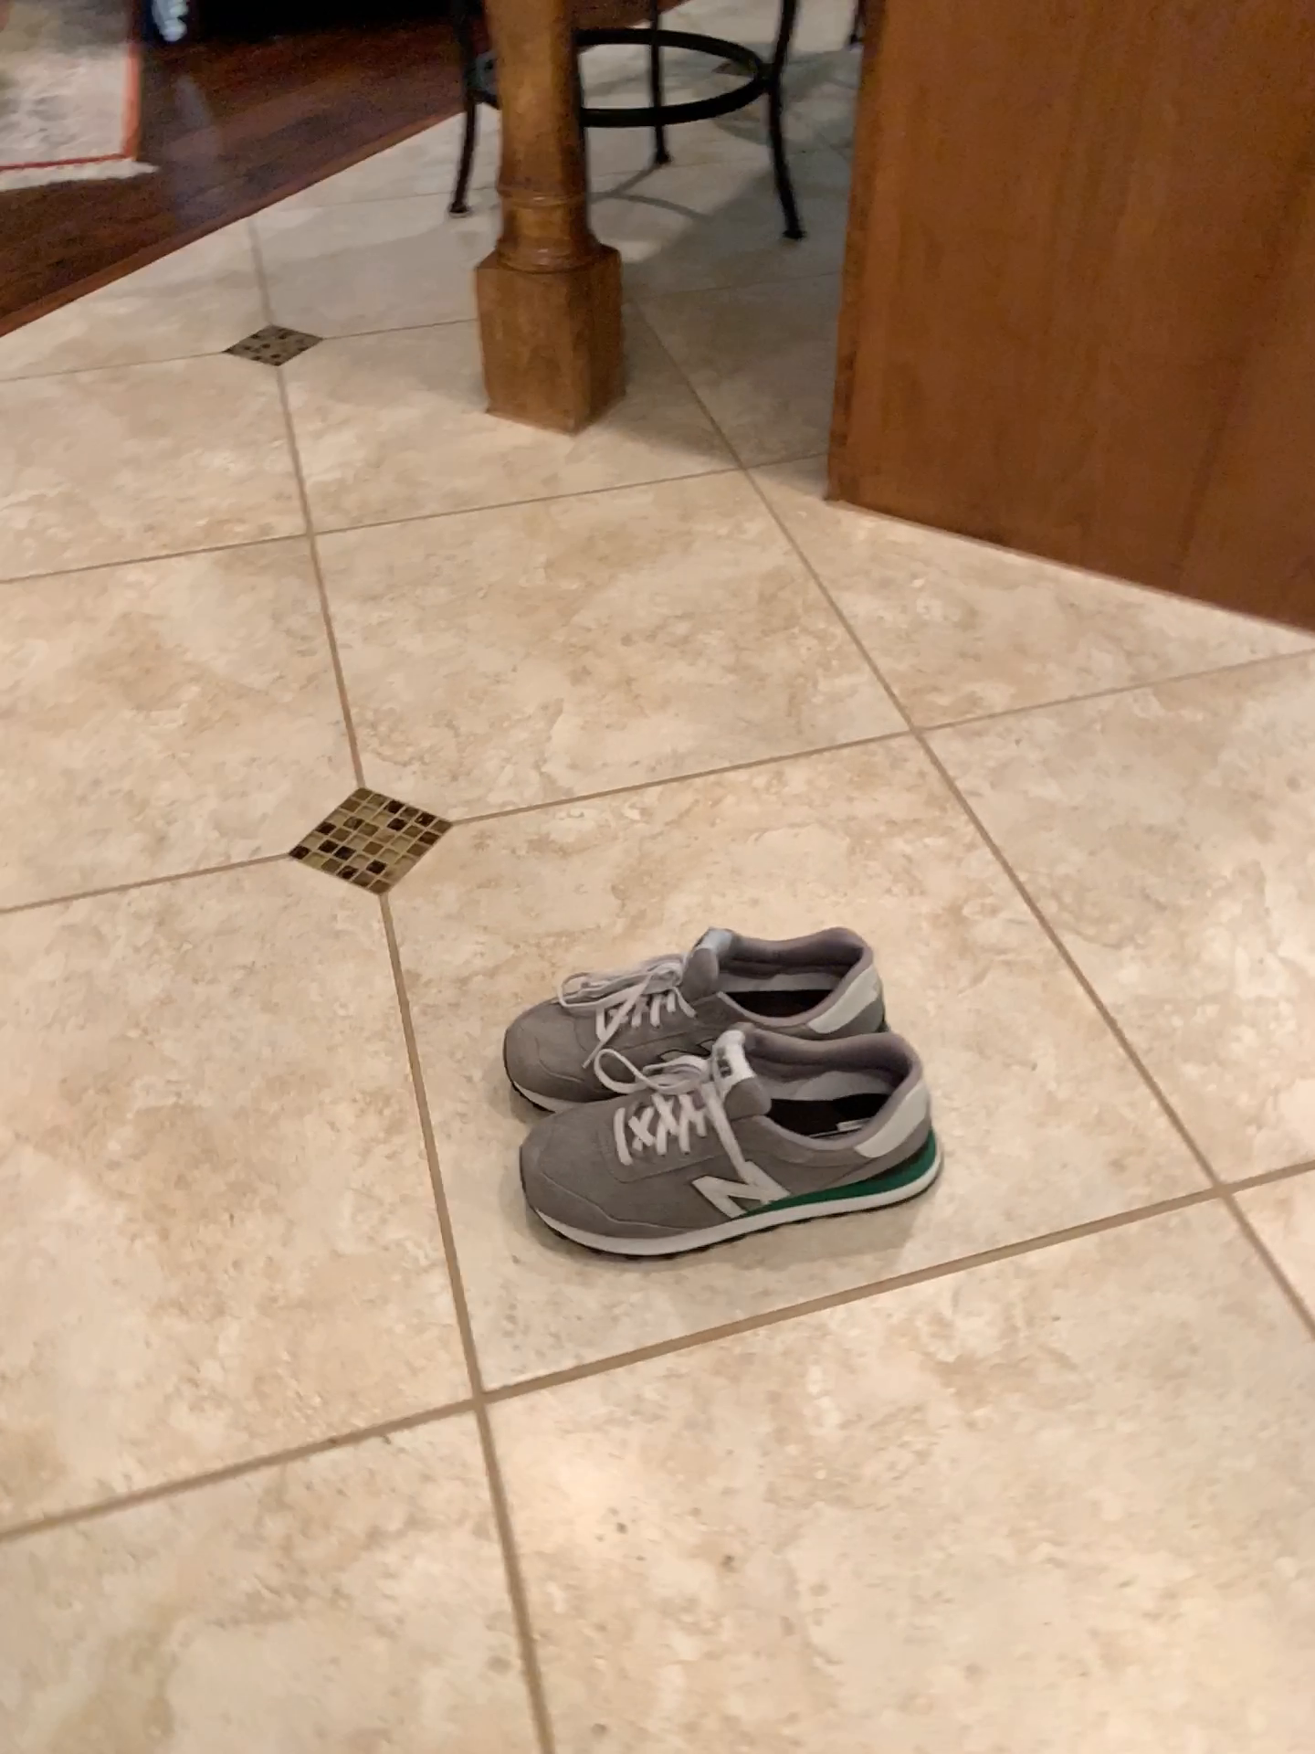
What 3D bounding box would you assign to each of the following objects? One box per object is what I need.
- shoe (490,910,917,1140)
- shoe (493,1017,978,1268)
[{"bbox_3d":[0.029,0.103,0.940,0.274,0.103,0.116,-1,45,0],"label":"shoe"},{"bbox_3d":[0.046,0.170,0.865,0.284,0.103,0.116,-1,45,0],"label":"shoe"}]
